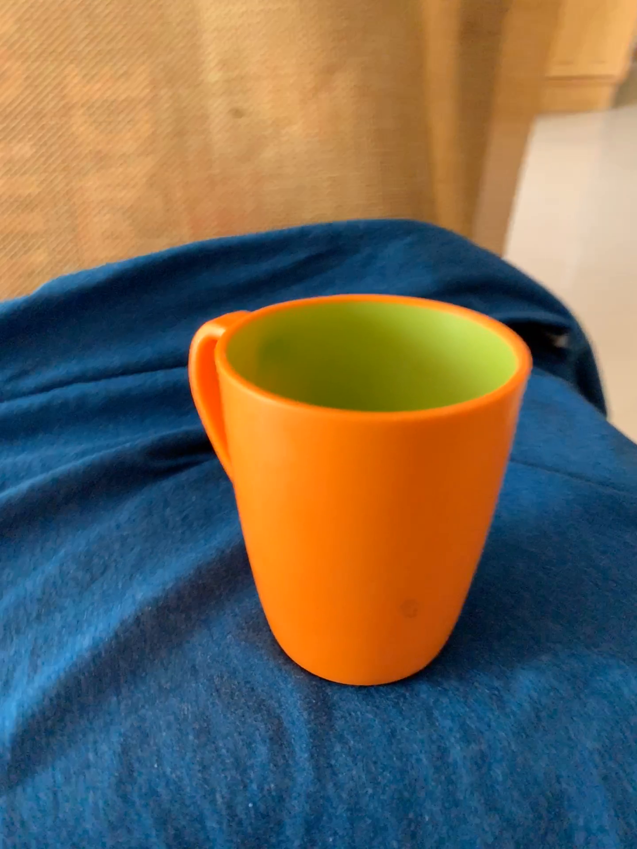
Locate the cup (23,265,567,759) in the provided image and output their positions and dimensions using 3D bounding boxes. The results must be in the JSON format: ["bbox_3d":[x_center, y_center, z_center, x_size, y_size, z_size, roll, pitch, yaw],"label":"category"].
[{"bbox_3d":[0.000,0.009,0.206,0.120,0.089,0.101,11,27,27],"label":"cup"}]
